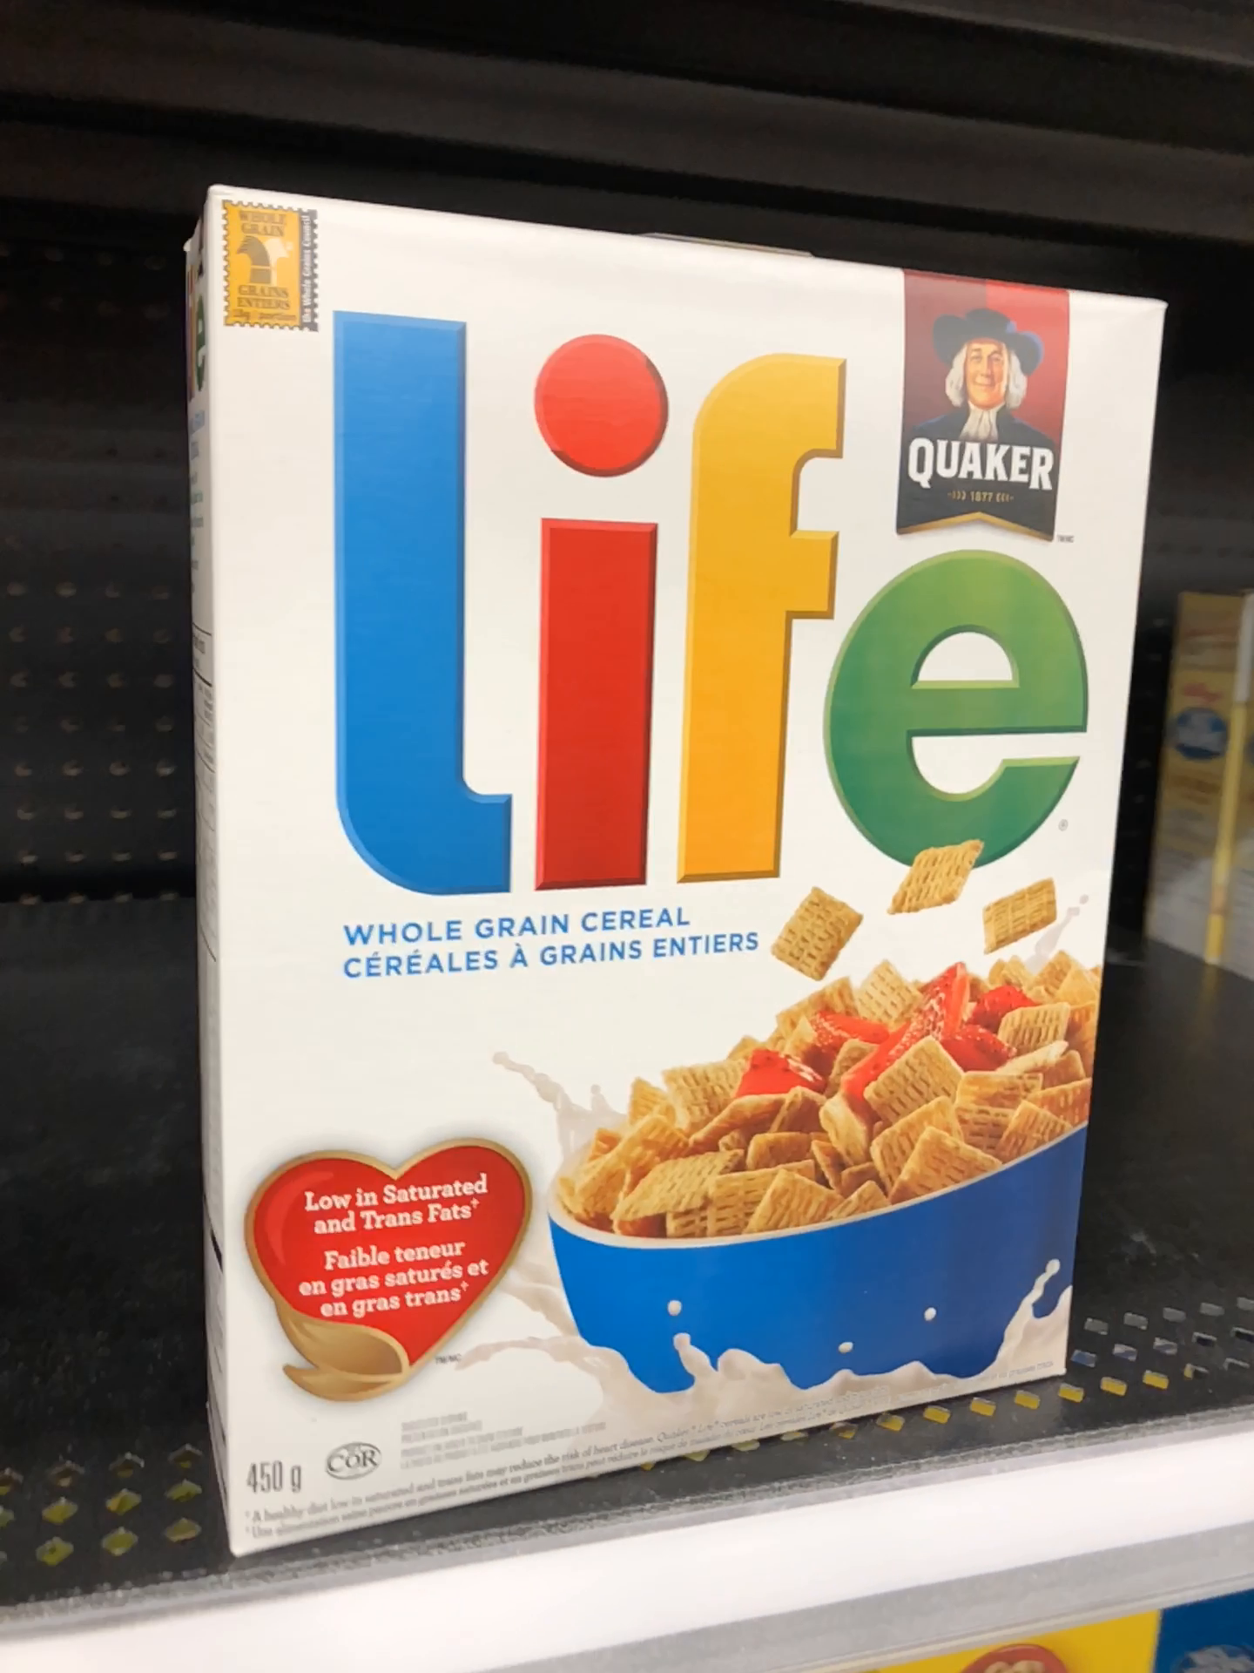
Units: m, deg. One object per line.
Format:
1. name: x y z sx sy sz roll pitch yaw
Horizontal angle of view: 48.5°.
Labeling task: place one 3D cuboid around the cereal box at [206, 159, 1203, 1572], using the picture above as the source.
1. cereal box: 0.014 0.008 0.314 0.200 0.259 0.060 -2 12 -22
